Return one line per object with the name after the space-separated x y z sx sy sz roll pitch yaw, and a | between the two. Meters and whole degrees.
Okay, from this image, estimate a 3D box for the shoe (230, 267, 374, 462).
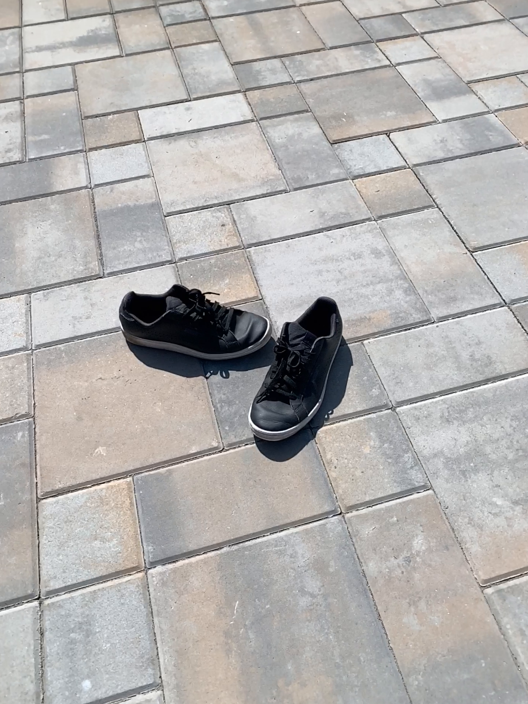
0.065 0.011 0.844 0.110 0.100 0.280 22 58 16 | shoe

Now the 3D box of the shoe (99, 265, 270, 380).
-0.124 -0.050 0.900 0.250 0.110 0.110 10 55 8 | shoe
